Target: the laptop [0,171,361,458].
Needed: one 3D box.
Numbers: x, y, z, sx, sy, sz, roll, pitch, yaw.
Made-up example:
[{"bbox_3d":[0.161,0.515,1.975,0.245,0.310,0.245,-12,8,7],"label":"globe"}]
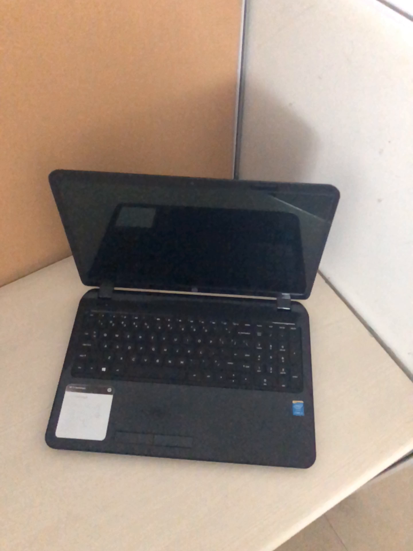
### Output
[{"bbox_3d":[-0.018,0.057,0.585,0.350,0.226,0.266,4,58,3],"label":"laptop"}]
